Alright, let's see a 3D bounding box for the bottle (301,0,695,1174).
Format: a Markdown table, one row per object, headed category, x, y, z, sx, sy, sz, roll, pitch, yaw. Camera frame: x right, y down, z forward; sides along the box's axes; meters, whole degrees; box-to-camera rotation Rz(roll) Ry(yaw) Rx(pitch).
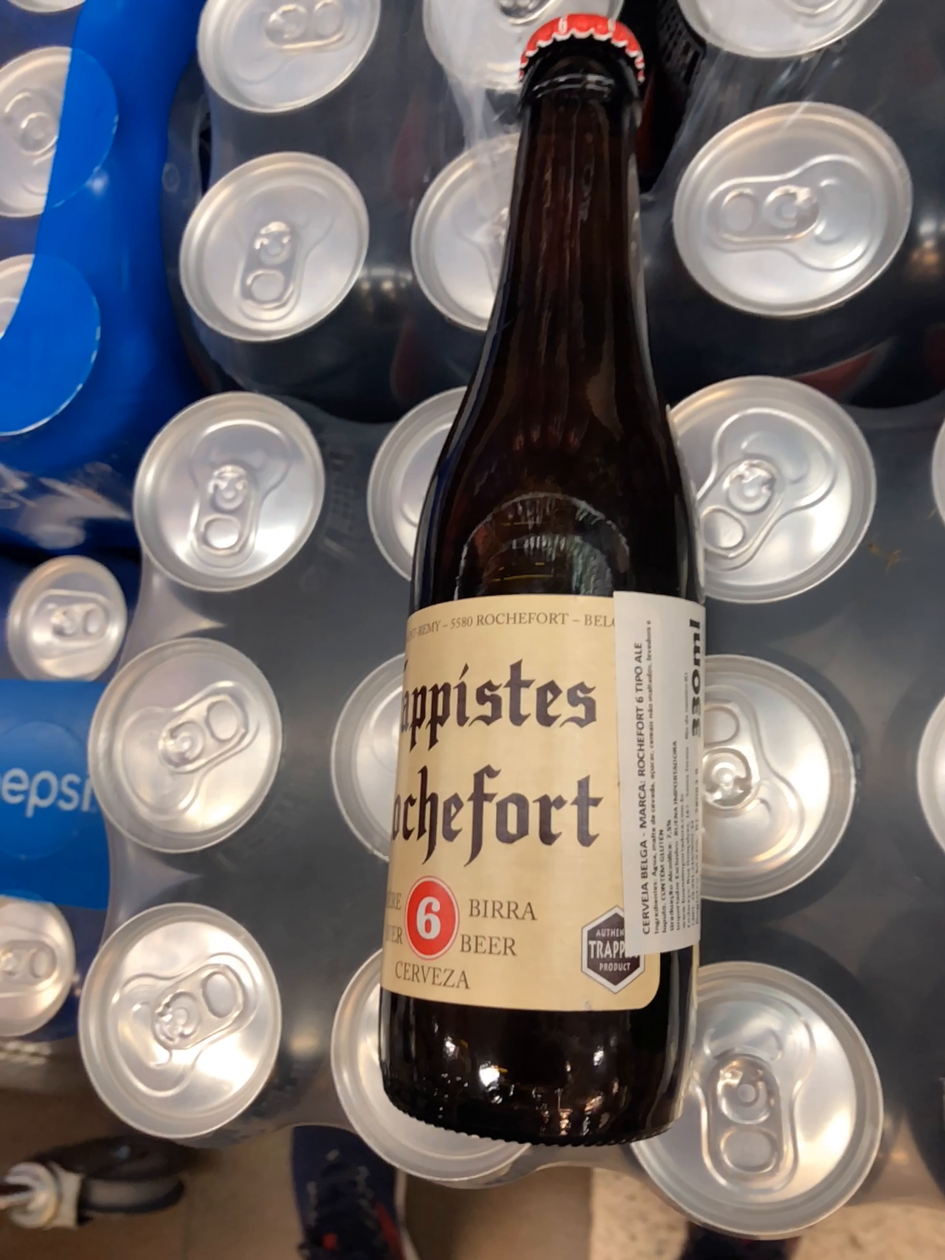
| category | x | y | z | sx | sy | sz | roll | pitch | yaw |
| --- | --- | --- | --- | --- | --- | --- | --- | --- | --- |
| bottle | 0.012 | -0.031 | 0.214 | 0.060 | 0.050 | 0.240 | 0 | 80 | 15 |
